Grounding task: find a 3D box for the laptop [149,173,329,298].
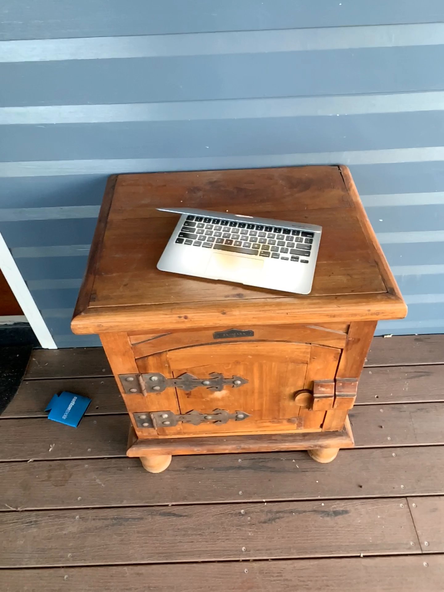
[{"bbox_3d":[0.038,-0.119,0.835,0.282,0.099,0.180,10,49,12],"label":"laptop"}]
